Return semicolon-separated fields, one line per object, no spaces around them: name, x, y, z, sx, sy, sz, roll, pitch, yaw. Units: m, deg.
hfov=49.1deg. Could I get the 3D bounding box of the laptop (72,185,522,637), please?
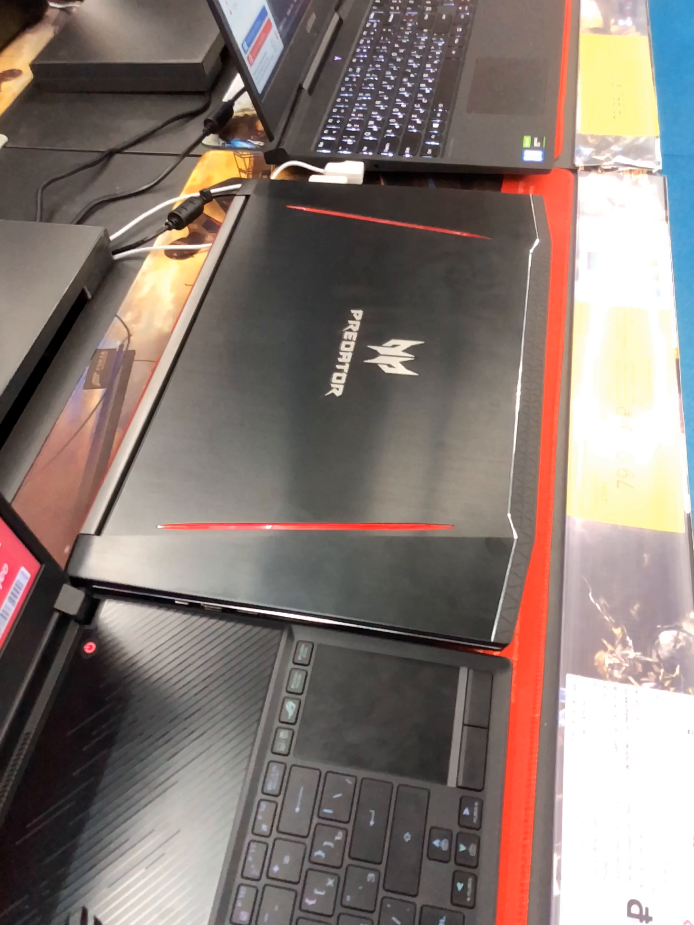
laptop;-0.006;-0.073;0.515;0.228;0.004;0.379;6;53;9
